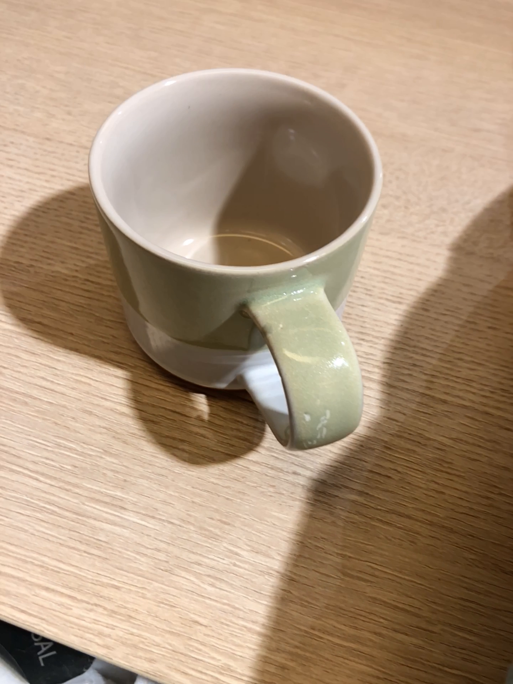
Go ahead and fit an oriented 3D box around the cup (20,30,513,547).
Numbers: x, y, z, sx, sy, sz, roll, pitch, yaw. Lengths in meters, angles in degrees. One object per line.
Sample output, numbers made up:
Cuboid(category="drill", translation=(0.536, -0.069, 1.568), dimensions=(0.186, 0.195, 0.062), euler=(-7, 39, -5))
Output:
Cuboid(category="cup", translation=(-0.004, -0.024, 0.205), dimensions=(0.100, 0.080, 0.141), euler=(-21, 62, -15))
